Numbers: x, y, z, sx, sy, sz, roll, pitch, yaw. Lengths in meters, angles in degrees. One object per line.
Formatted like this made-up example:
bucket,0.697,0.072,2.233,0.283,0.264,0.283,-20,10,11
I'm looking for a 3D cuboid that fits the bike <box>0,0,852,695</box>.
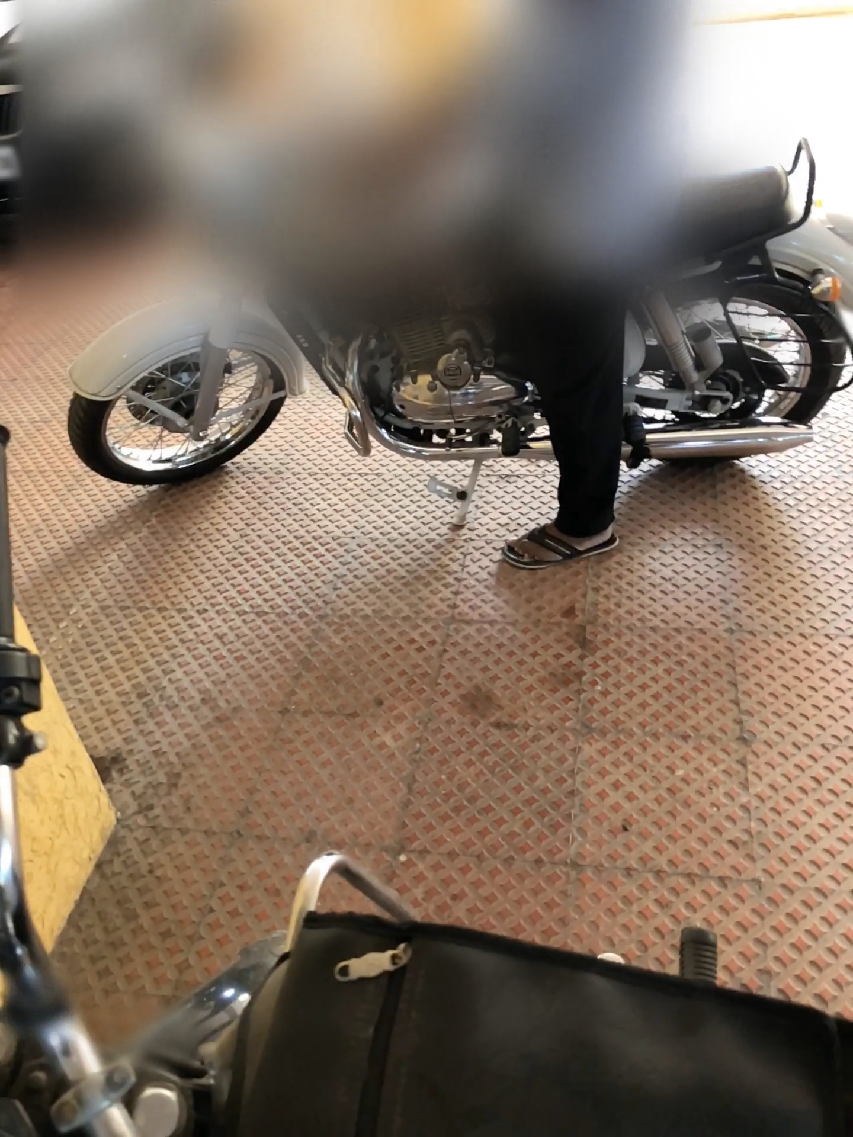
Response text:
bike,0.002,-0.538,1.970,1.897,1.233,0.849,-4,38,4
